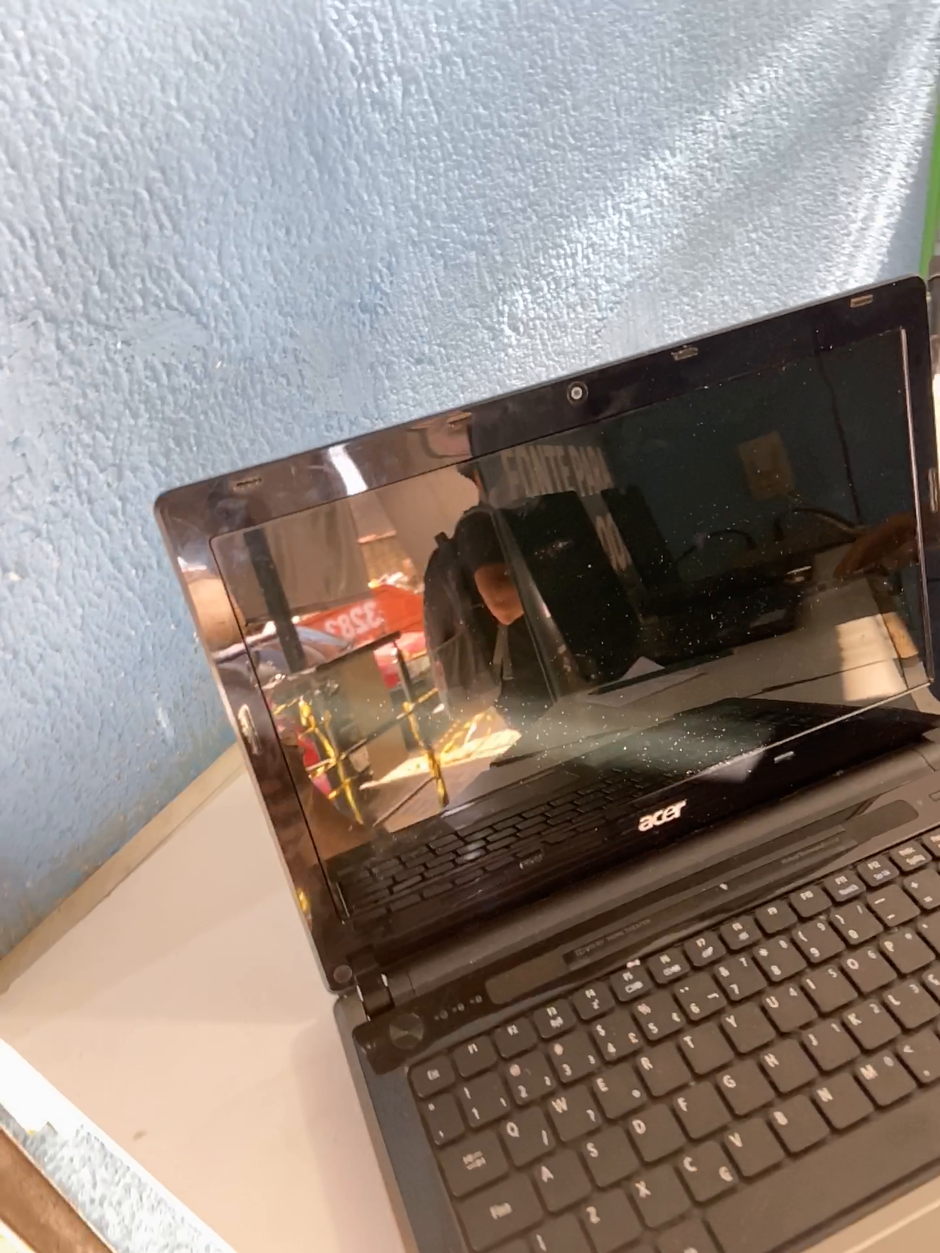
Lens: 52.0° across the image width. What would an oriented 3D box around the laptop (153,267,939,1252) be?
[{"bbox_3d":[0.112,0.065,0.327,0.337,0.207,0.320,-19,38,-13],"label":"laptop"}]
